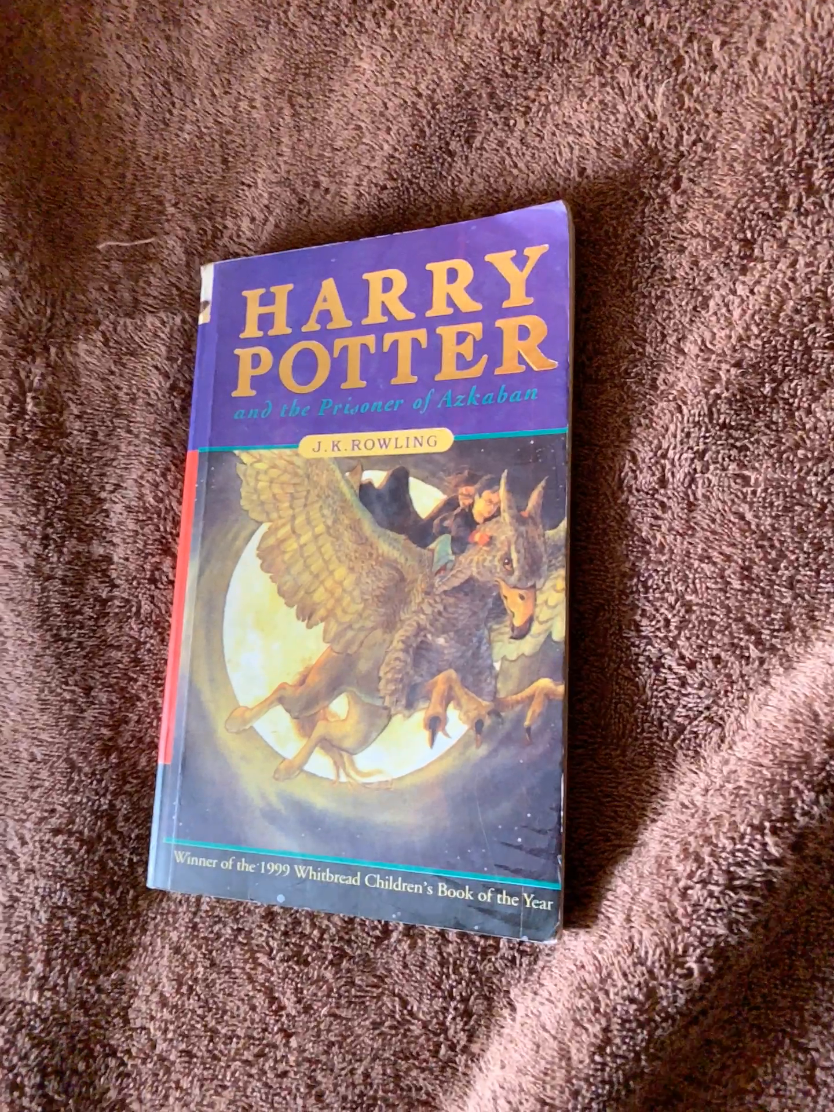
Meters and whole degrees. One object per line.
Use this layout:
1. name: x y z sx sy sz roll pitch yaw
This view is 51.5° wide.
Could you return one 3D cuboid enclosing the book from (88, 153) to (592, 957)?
1. book: -0.023 -0.002 0.225 0.130 0.020 0.180 -2 85 21
